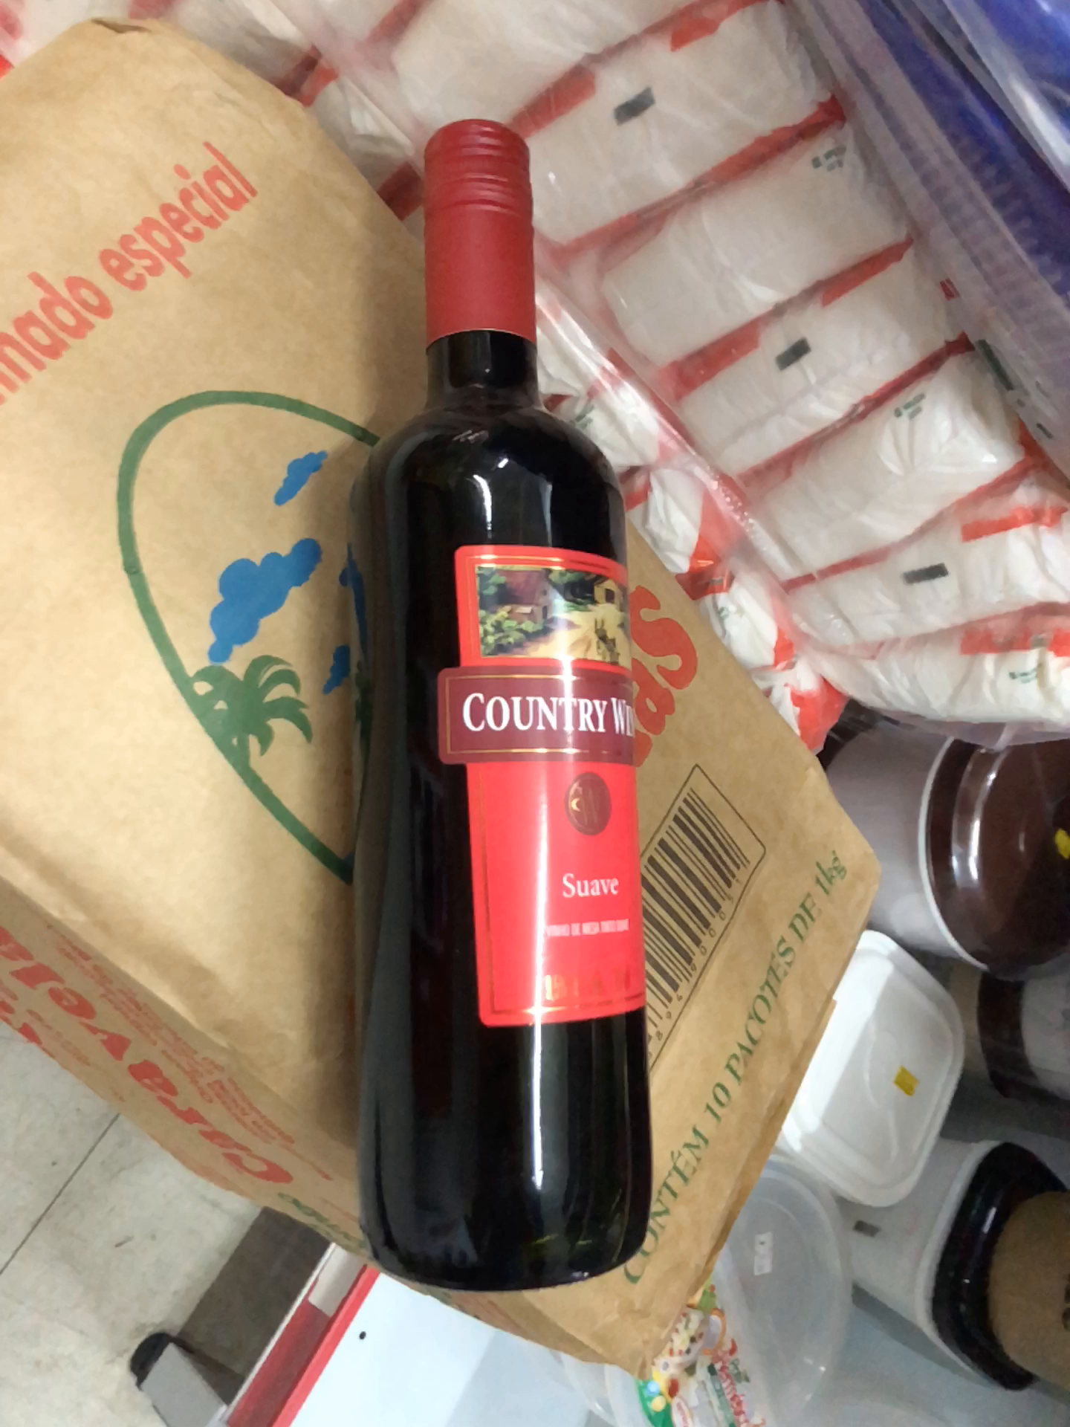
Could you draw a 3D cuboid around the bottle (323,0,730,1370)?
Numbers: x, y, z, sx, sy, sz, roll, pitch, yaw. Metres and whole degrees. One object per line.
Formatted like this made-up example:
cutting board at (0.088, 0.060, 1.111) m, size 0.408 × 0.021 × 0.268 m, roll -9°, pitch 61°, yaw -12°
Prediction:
bottle at (-0.002, -0.008, 0.295) m, size 0.080 × 0.060 × 0.290 m, roll 2°, pitch 87°, yaw -34°
